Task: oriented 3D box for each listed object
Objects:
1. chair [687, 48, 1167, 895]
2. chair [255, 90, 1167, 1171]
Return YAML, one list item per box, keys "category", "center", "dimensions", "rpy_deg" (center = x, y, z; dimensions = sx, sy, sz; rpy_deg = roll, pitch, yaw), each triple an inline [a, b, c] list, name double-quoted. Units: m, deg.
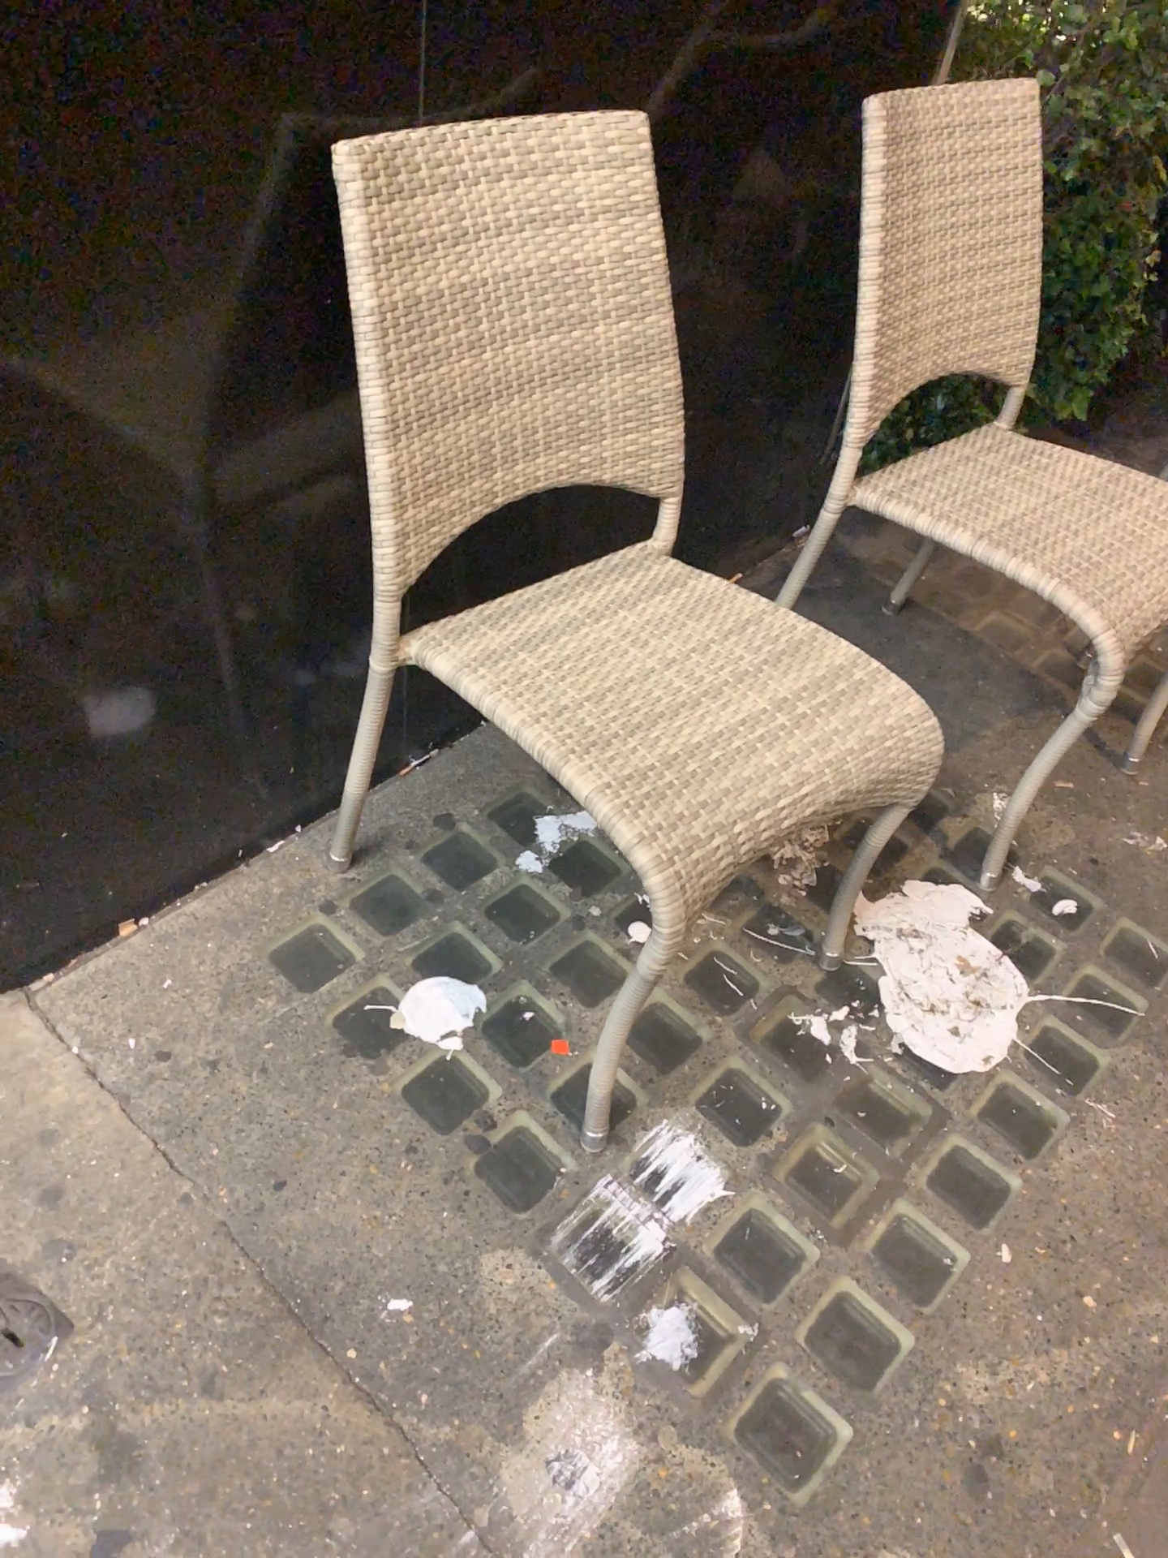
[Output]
- category: "chair"
  center: [0.603, -0.454, 1.684]
  dimensions: [0.583, 0.901, 0.603]
  rpy_deg: [-26, 47, -31]
- category: "chair"
  center: [0.053, -0.151, 1.255]
  dimensions: [0.482, 0.832, 0.613]
  rpy_deg: [-28, 56, -32]
